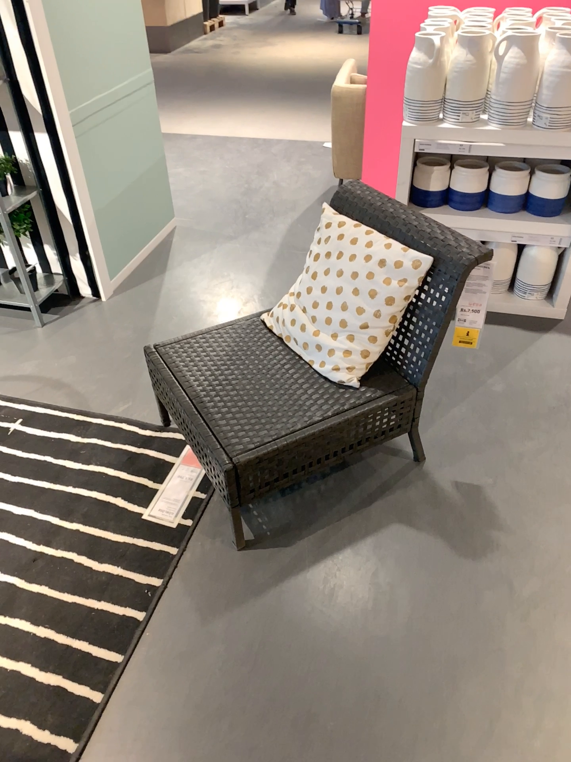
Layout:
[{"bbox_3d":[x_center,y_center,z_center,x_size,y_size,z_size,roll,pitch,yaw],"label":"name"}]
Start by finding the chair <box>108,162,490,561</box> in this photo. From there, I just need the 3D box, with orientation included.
[{"bbox_3d":[0.015,-0.108,1.807,0.780,0.797,0.703,-20,42,-21],"label":"chair"}]
